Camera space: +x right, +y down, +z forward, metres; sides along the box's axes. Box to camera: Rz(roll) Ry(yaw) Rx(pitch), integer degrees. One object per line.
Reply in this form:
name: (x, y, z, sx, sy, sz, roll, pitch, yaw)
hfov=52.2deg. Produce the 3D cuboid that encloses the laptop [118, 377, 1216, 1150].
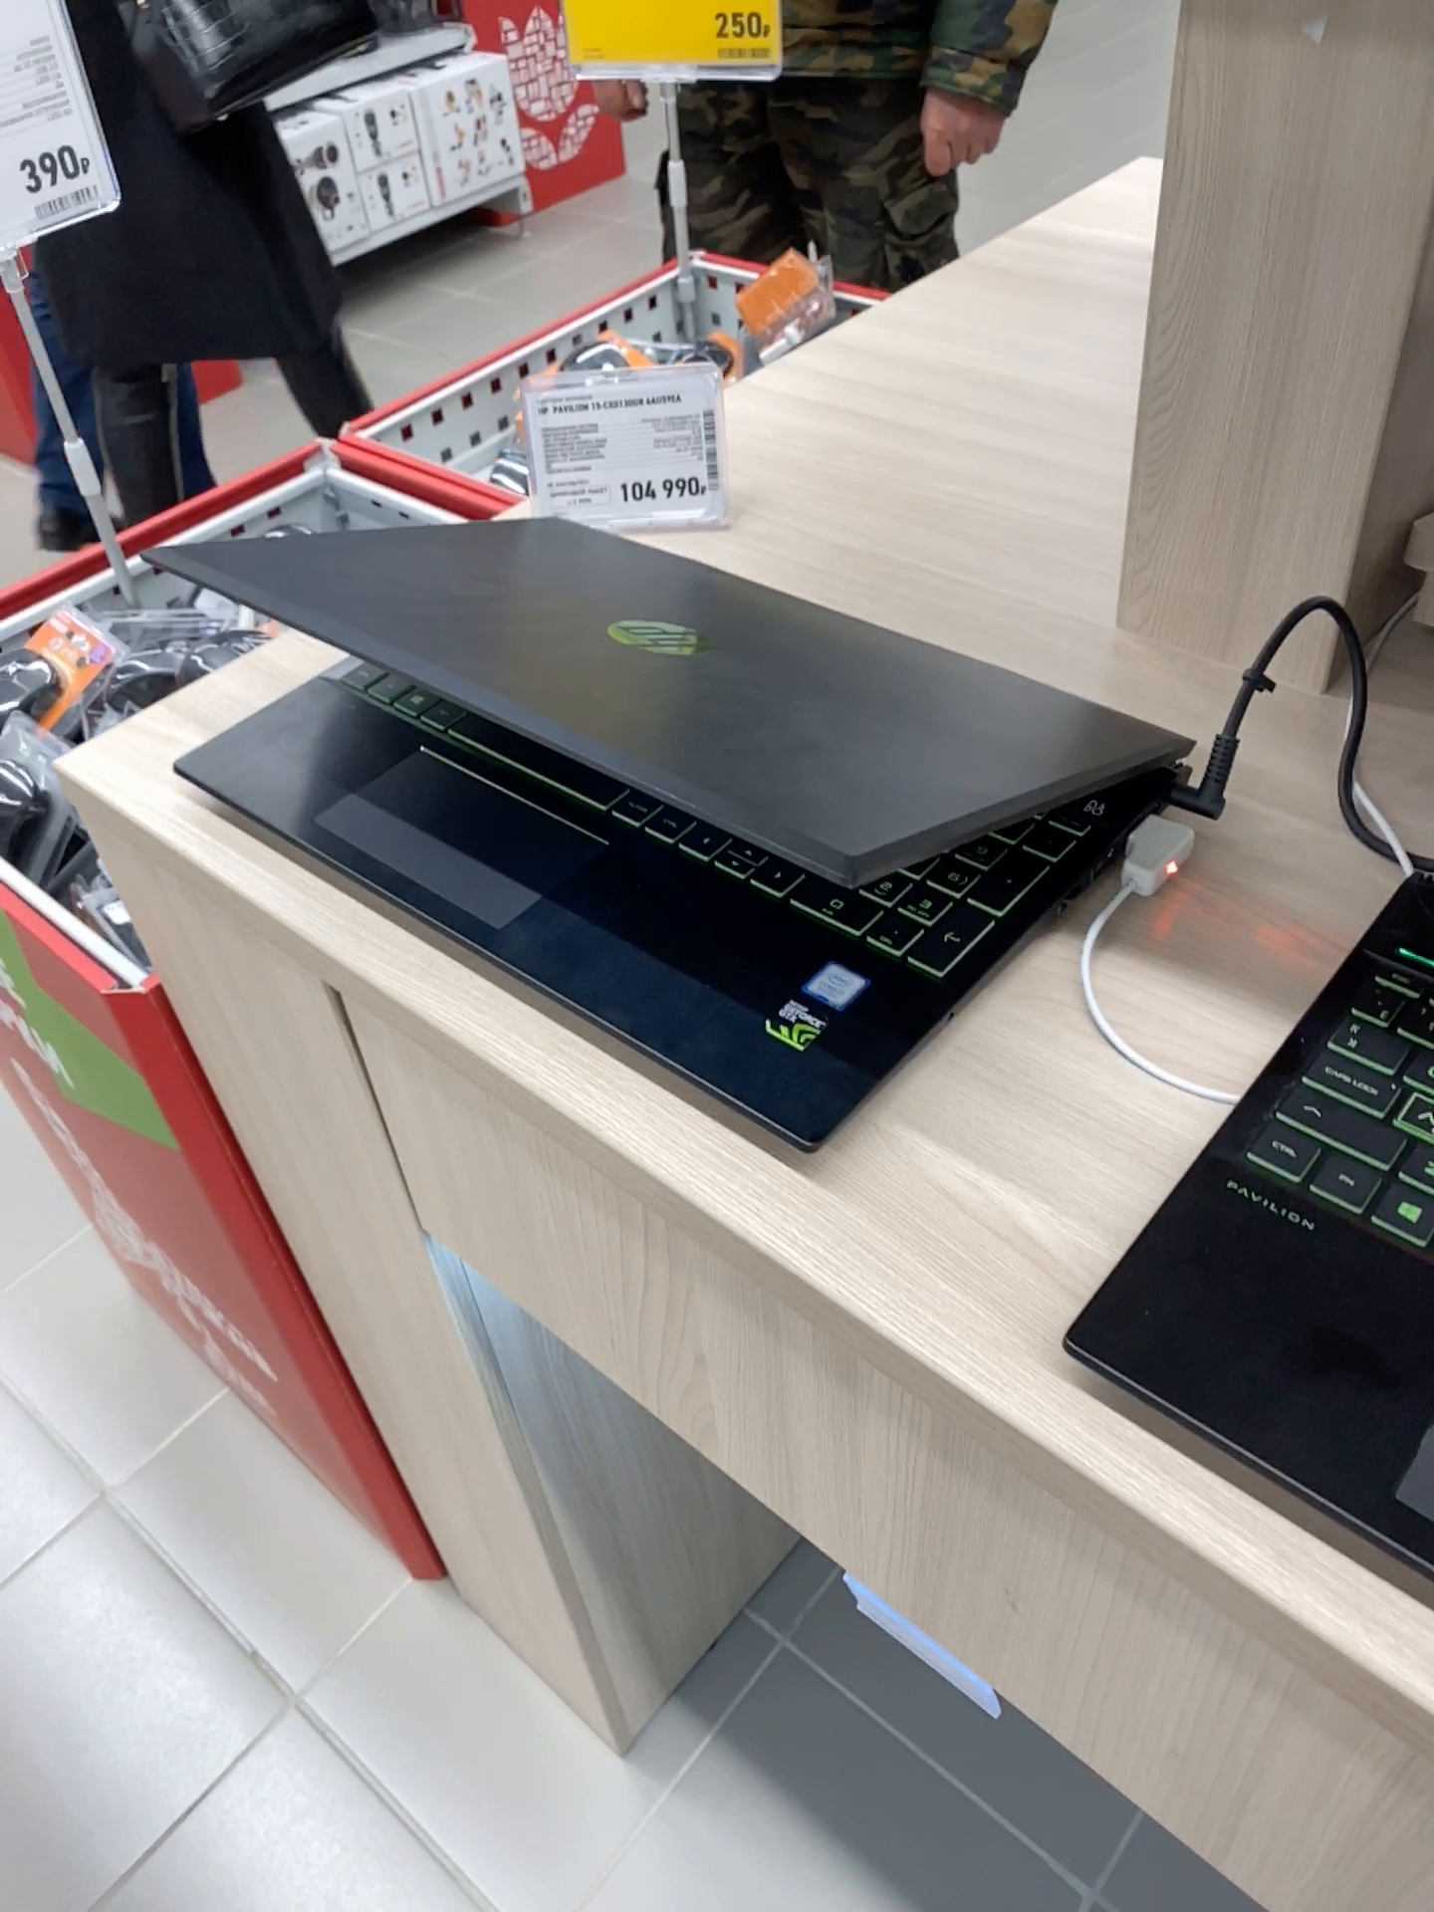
laptop: (-0.030, -0.113, 0.598, 0.367, 0.086, 0.241, 28, 54, 32)
